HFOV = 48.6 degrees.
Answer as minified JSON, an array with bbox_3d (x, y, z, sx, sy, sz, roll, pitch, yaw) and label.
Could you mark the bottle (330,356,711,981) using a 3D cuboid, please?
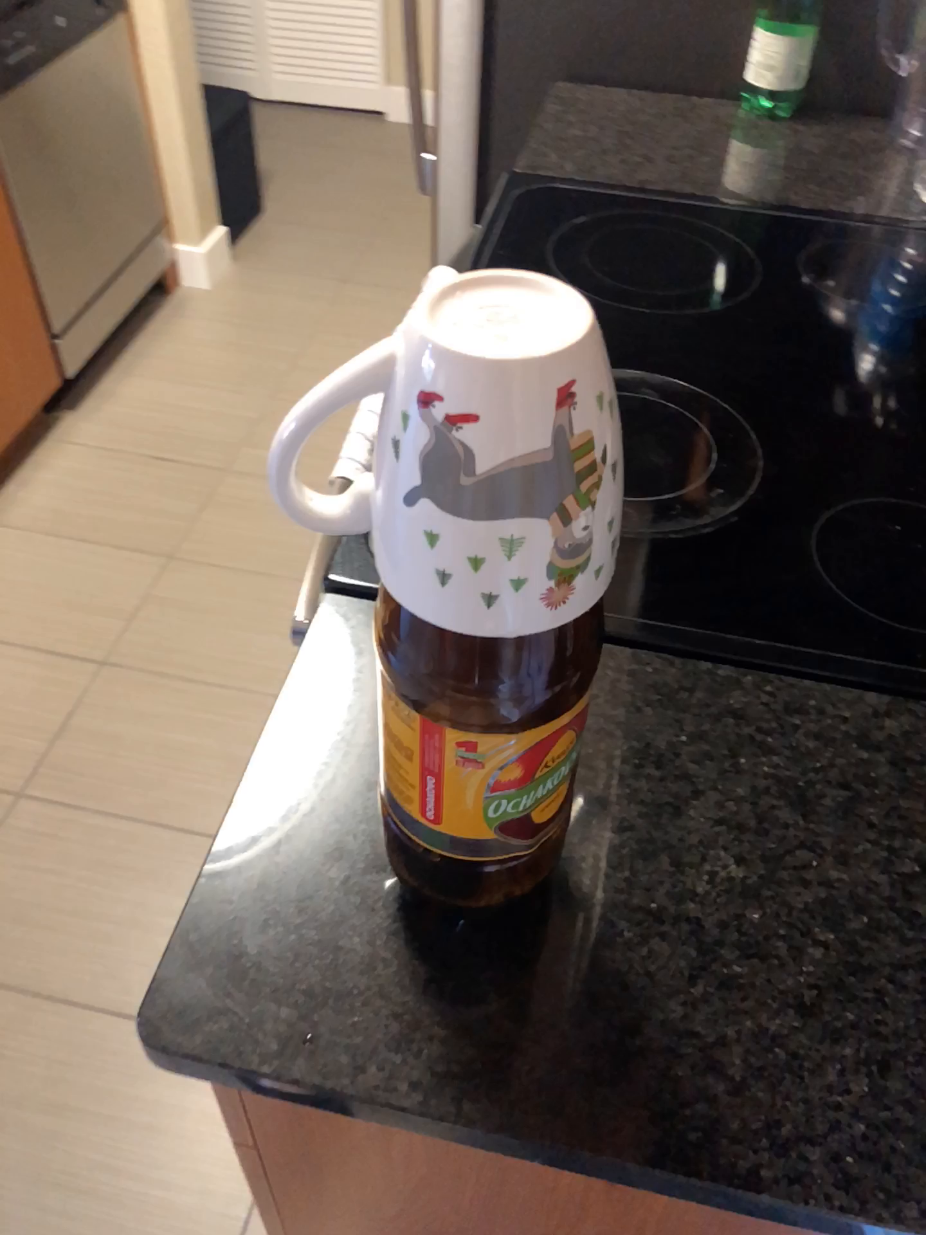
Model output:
[{"bbox_3d":[0.017,0.039,0.479,0.100,0.279,0.100,1,45,-1],"label":"bottle"}]
